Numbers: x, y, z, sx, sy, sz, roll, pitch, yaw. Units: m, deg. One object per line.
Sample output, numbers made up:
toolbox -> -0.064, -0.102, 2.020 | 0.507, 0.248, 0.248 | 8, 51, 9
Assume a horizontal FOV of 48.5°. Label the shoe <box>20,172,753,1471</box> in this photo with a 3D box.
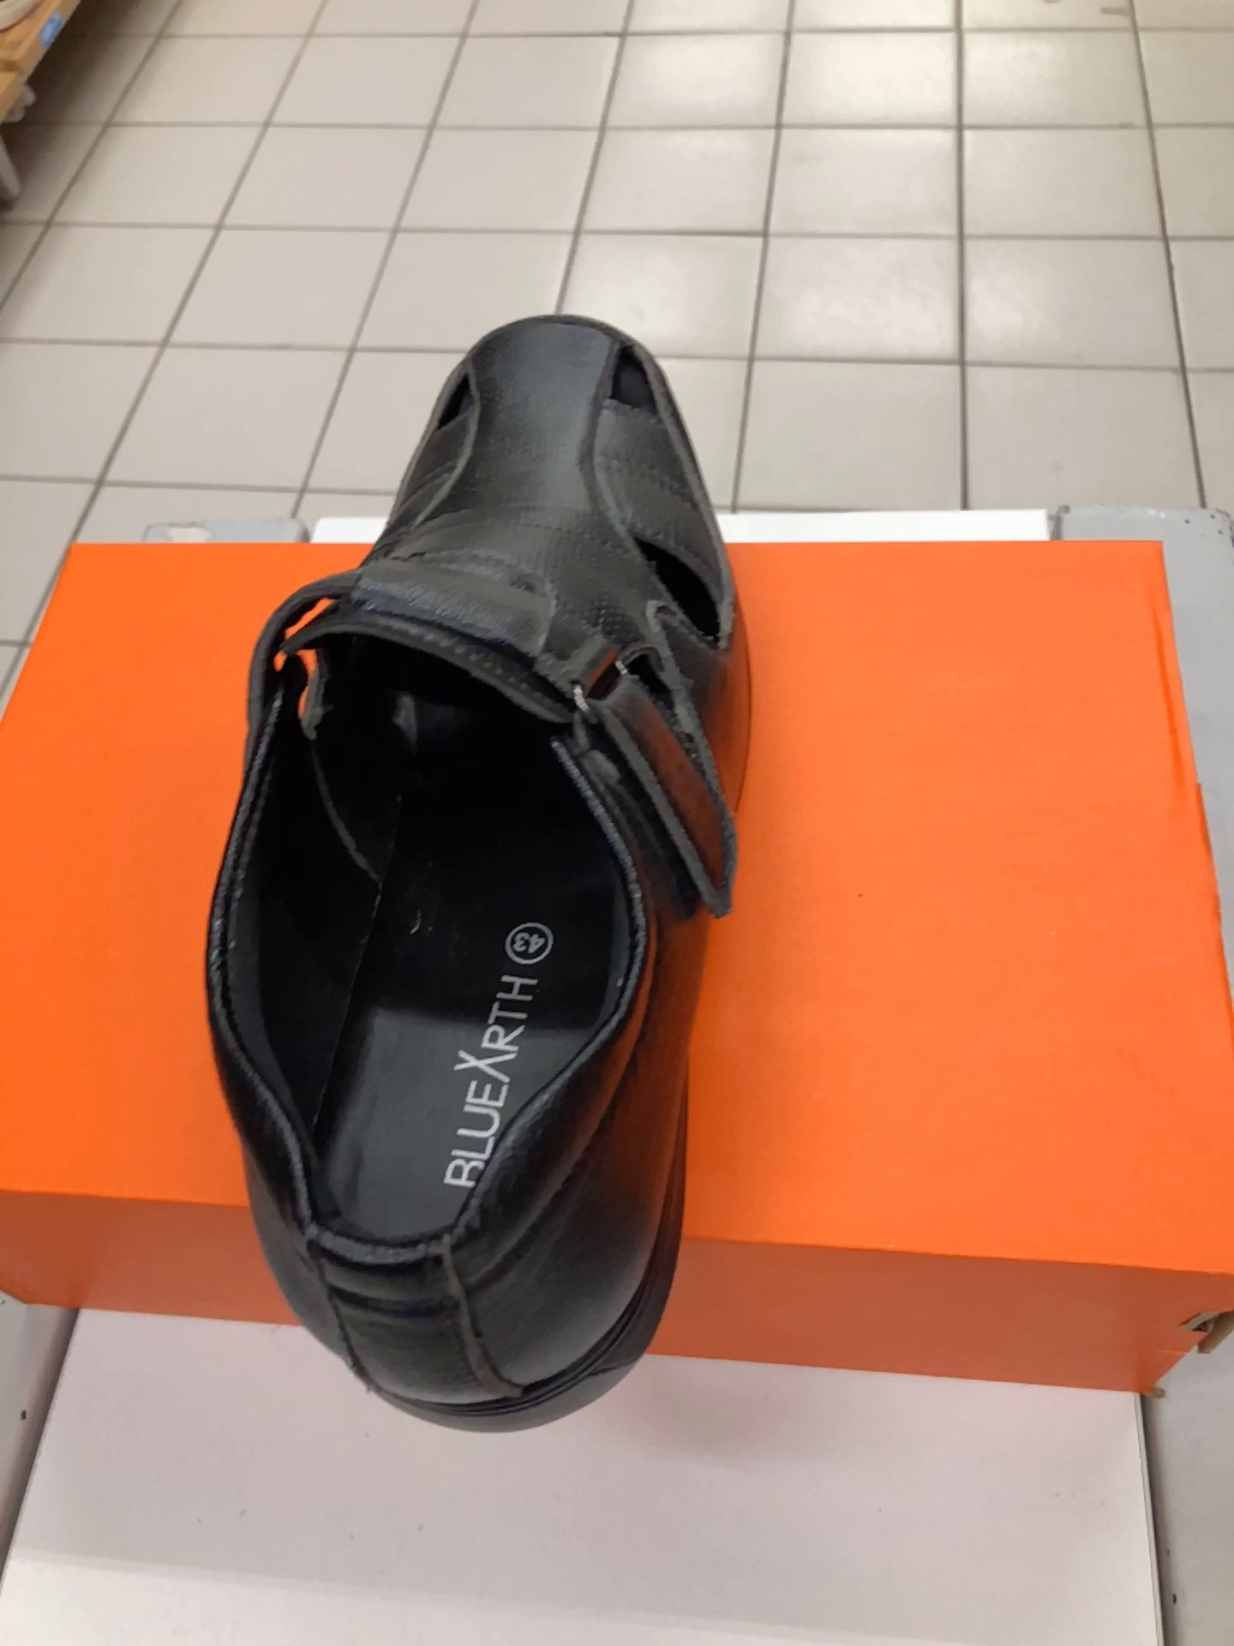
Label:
shoe -> -0.024, -0.022, 0.328 | 0.100, 0.100, 0.301 | 2, 57, 6
